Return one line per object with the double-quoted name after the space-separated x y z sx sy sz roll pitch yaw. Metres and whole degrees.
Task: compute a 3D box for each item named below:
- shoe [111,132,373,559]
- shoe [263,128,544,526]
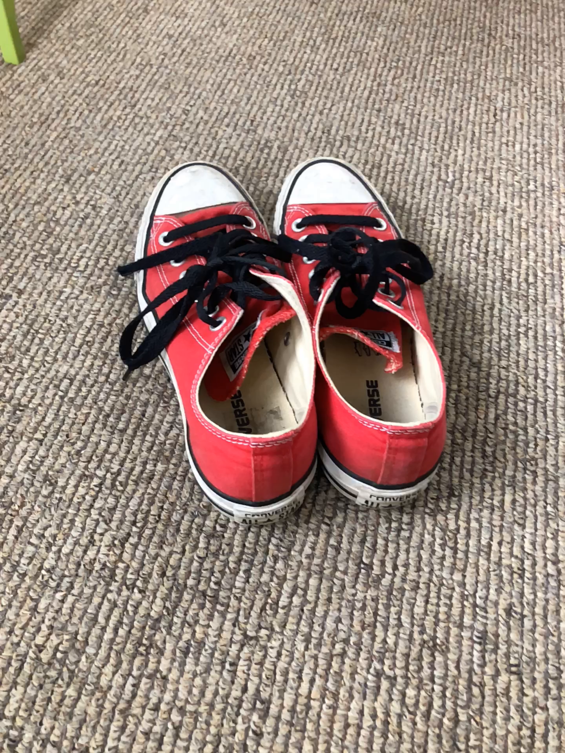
-0.040 -0.035 0.408 0.102 0.096 0.263 -9 57 -11 "shoe"
0.058 -0.047 0.414 0.102 0.088 0.260 -5 56 -8 "shoe"
